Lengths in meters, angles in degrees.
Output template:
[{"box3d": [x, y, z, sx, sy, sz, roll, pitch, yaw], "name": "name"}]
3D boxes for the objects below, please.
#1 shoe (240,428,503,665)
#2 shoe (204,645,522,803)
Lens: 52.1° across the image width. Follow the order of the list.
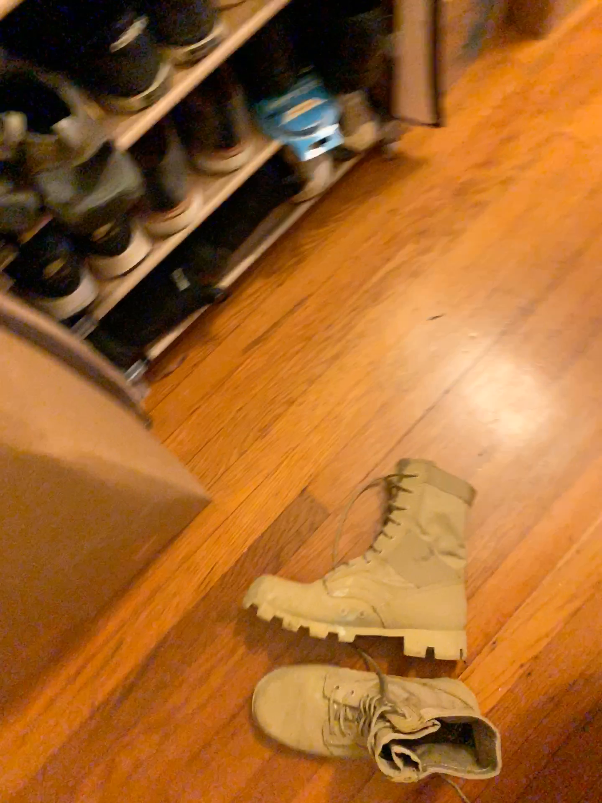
[{"box3d": [0.091, 0.181, 0.783, 0.290, 0.110, 0.260, 2, 67, 8], "name": "shoe"}, {"box3d": [0.066, 0.349, 0.677, 0.290, 0.200, 0.120, 0, 73, 8], "name": "shoe"}]
